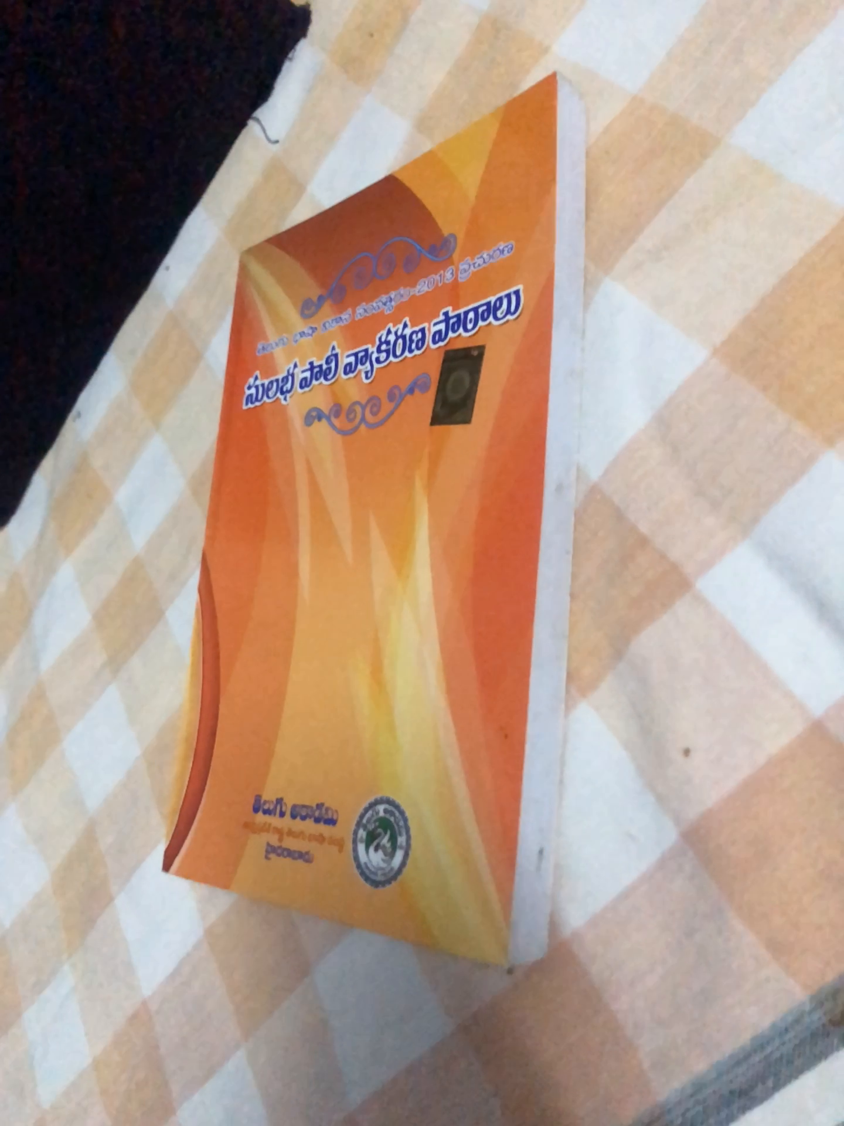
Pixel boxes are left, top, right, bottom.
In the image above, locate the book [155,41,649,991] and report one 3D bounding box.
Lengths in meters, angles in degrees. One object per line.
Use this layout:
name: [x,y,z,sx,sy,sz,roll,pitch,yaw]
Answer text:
book: [-0.010,-0.014,0.254,0.140,0.020,0.210,-6,74,42]
